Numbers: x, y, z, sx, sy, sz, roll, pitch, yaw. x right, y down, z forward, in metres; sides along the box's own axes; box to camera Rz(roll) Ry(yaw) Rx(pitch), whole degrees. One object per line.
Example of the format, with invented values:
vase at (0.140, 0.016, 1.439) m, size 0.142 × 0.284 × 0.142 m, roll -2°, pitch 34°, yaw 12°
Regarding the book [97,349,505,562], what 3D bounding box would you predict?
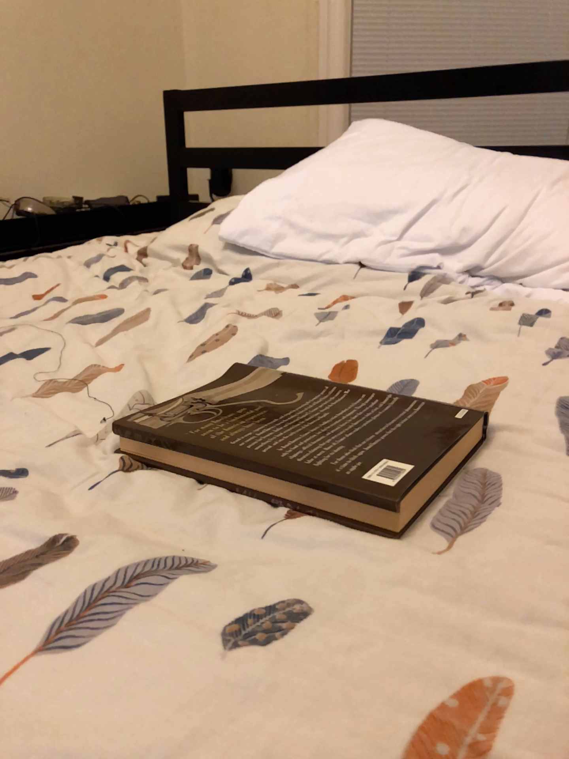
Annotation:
book at (0.014, 0.034, 0.465) m, size 0.240 × 0.030 × 0.181 m, roll 13°, pitch 24°, yaw 32°
